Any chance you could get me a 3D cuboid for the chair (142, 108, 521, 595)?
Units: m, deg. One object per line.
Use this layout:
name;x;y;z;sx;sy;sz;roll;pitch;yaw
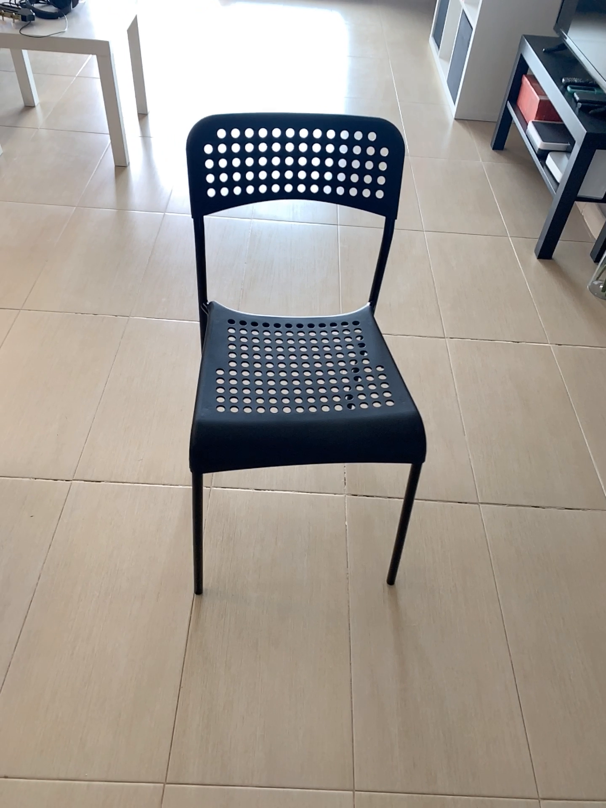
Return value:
chair;-0.008;-0.063;1.091;0.420;0.686;0.493;-1;47;-6
